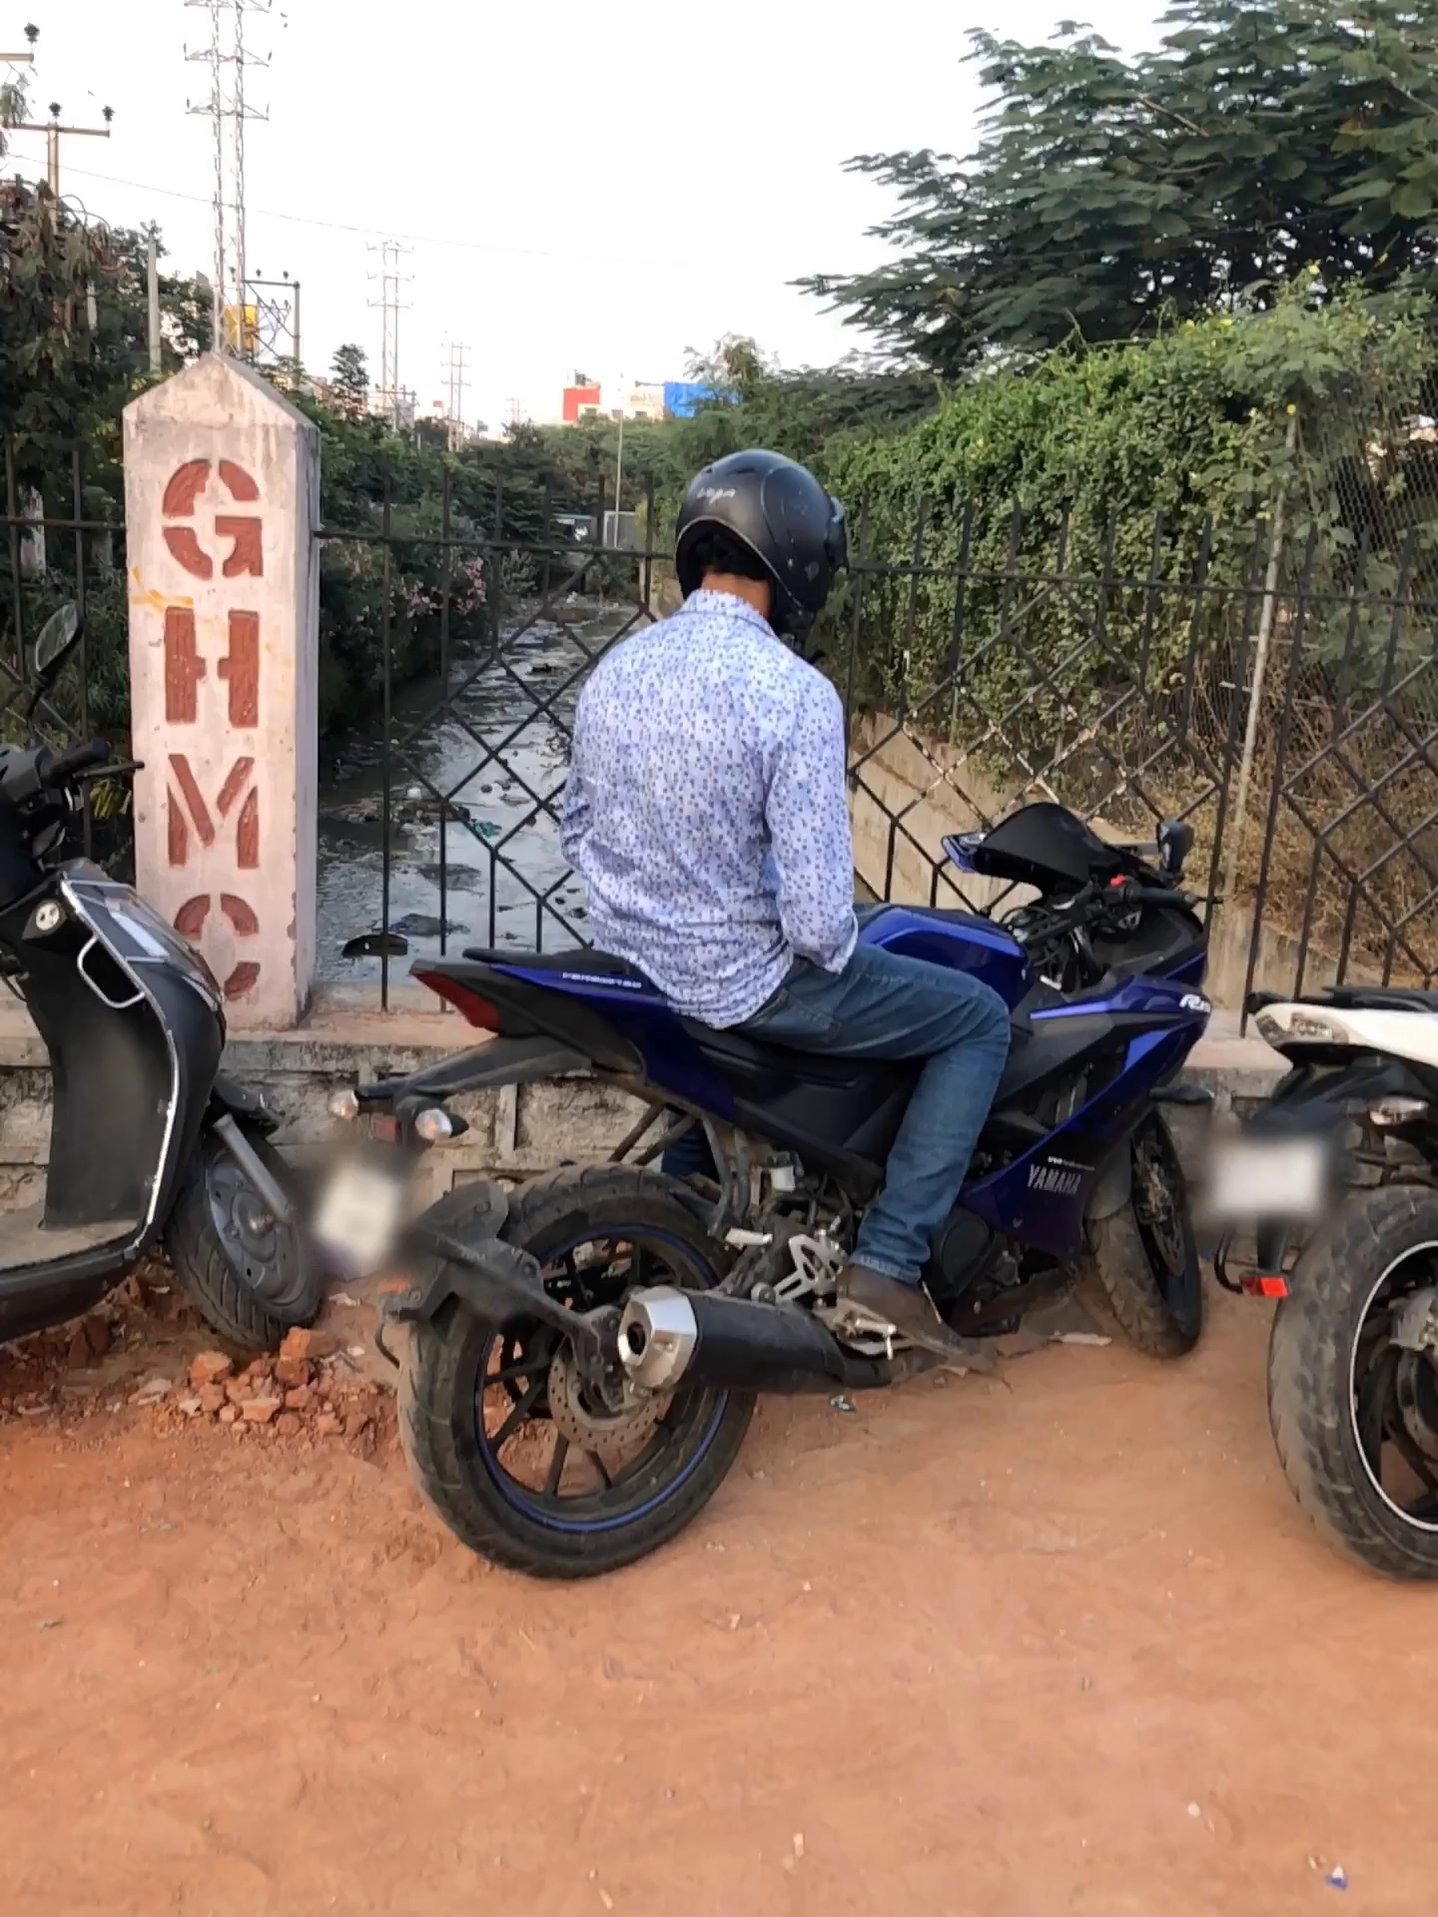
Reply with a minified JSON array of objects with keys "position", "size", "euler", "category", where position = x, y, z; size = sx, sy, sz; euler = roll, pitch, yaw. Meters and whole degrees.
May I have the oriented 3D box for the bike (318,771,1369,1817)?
[{"position":[0.325,0.321,2.776],"size":[0.732,0.996,1.949],"euler":[16,21,41],"category":"bike"}]
